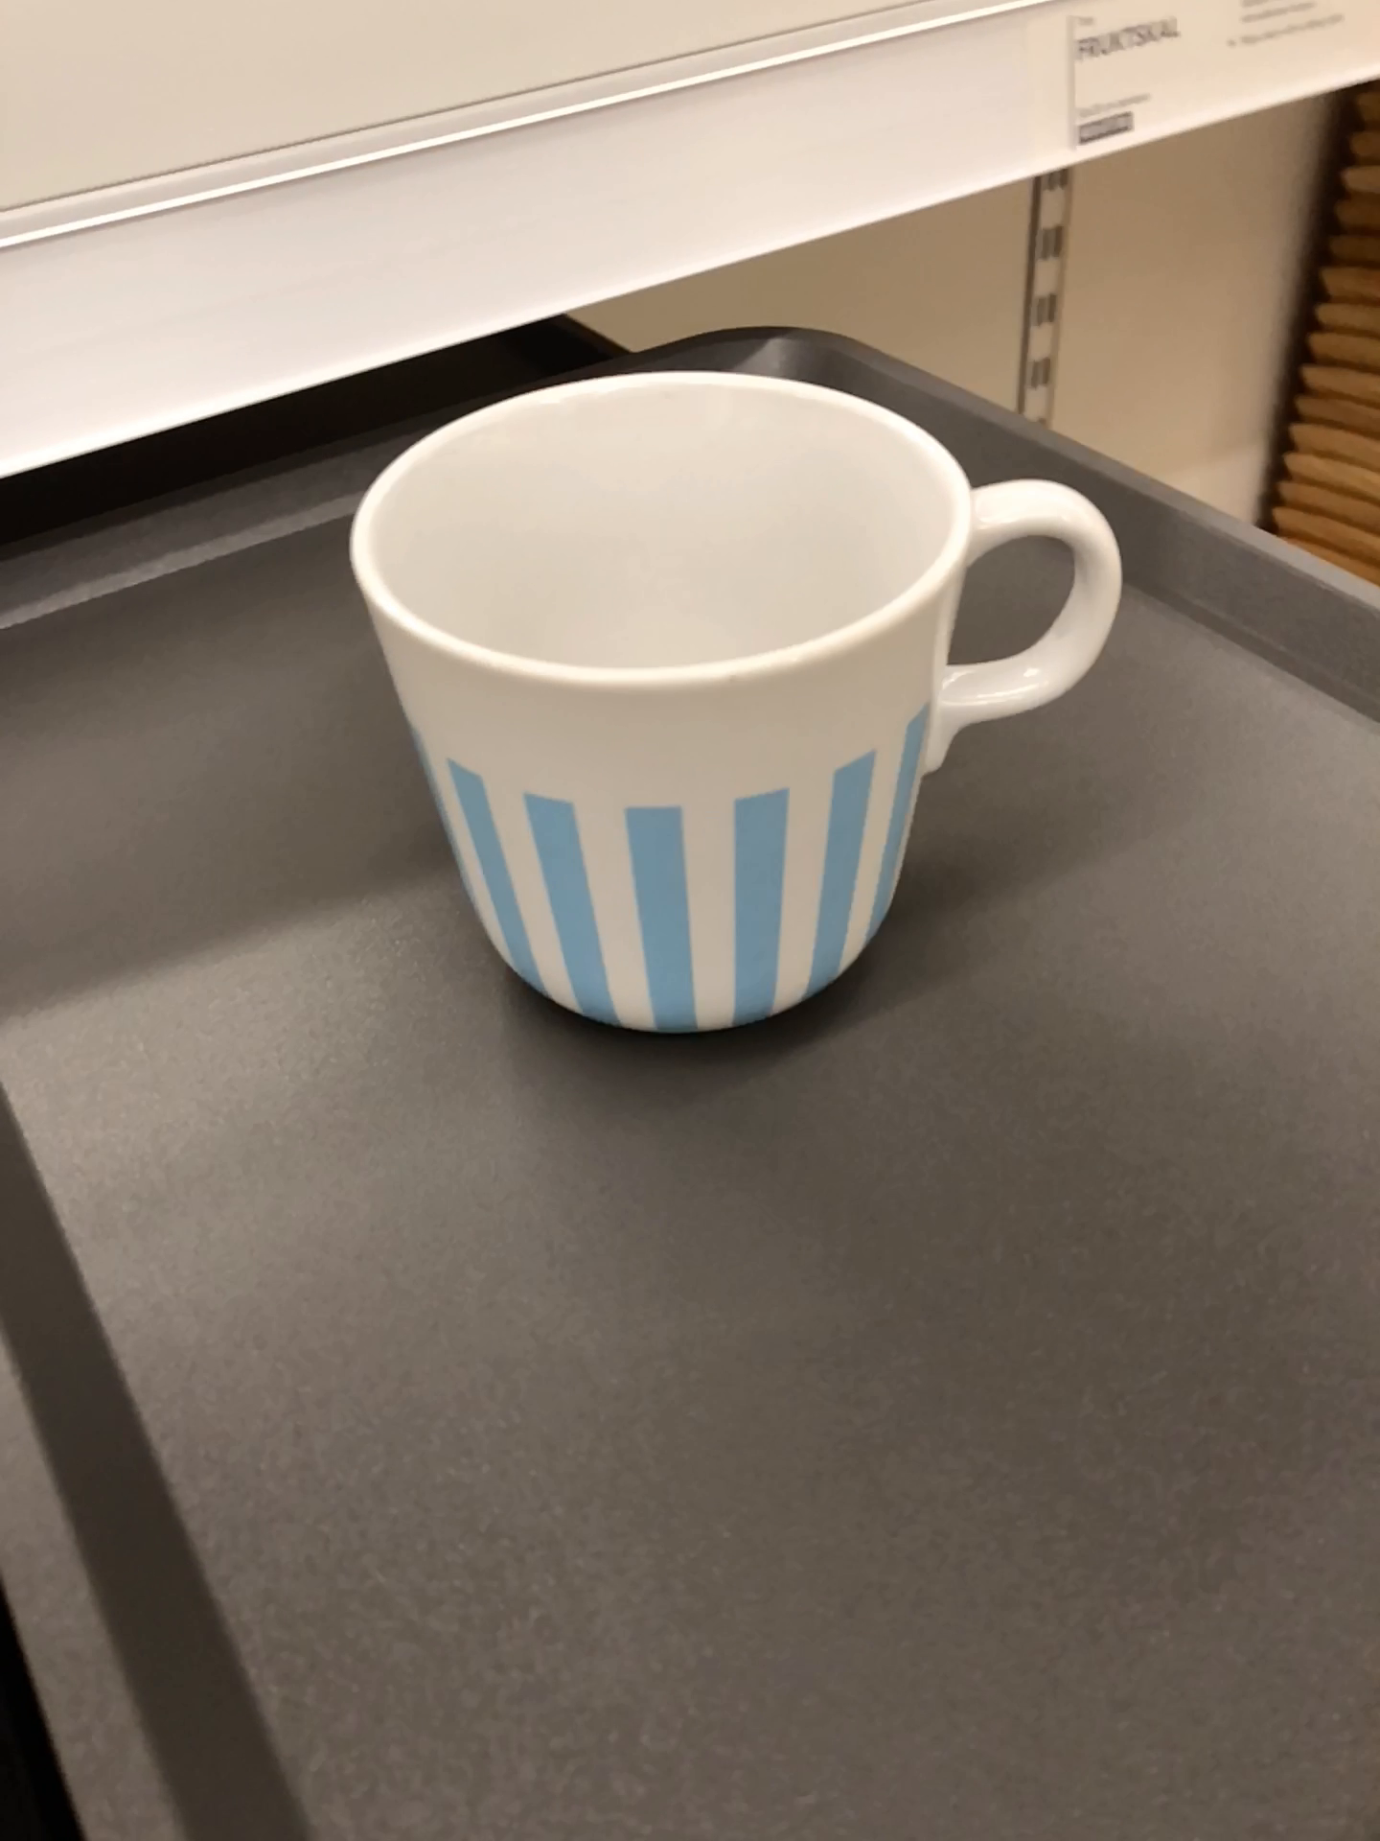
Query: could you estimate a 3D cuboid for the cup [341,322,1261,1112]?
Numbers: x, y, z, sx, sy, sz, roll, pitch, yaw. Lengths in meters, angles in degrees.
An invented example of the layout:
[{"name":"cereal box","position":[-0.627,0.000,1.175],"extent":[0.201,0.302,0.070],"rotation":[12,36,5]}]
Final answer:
[{"name":"cup","position":[0.009,-0.037,0.240],"extent":[0.110,0.070,0.090],"rotation":[-10,40,-7]}]
